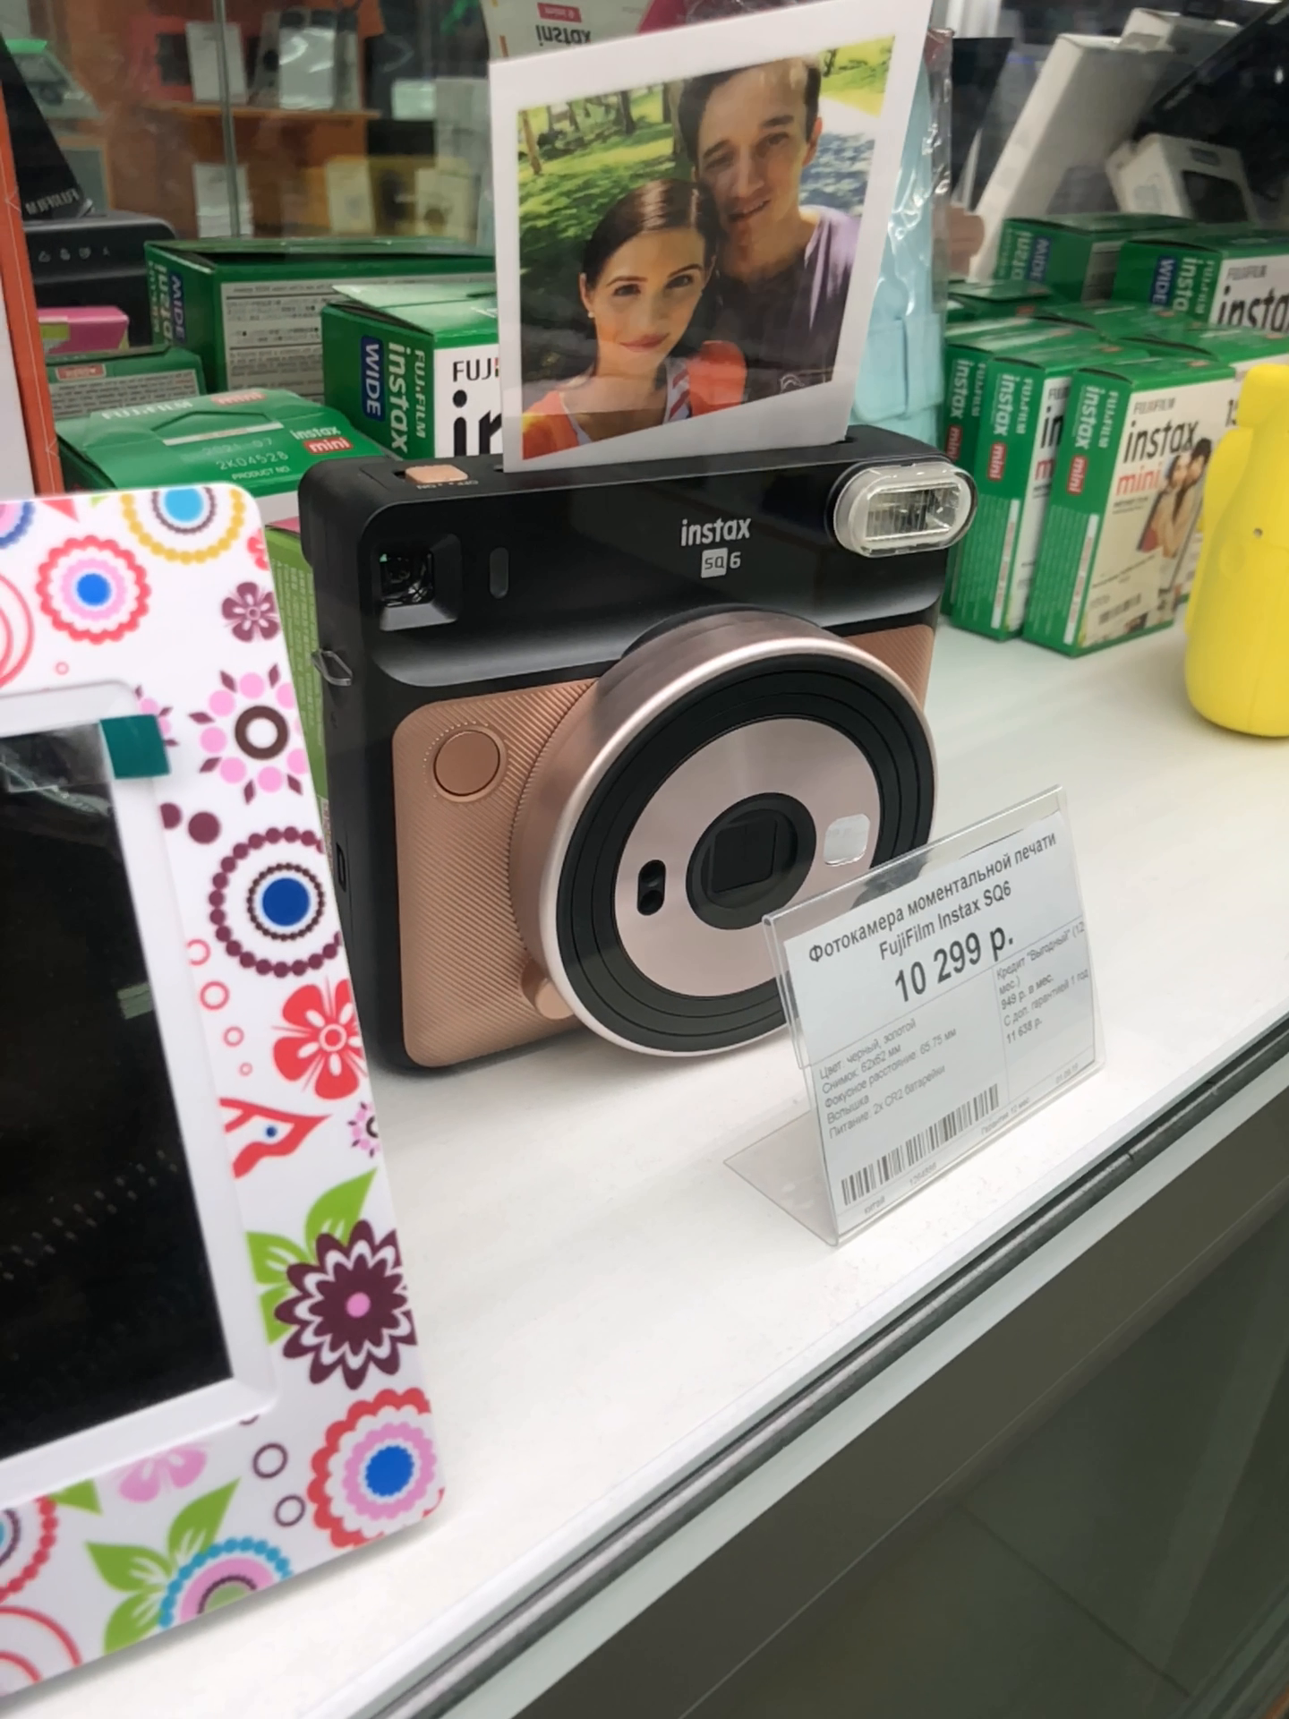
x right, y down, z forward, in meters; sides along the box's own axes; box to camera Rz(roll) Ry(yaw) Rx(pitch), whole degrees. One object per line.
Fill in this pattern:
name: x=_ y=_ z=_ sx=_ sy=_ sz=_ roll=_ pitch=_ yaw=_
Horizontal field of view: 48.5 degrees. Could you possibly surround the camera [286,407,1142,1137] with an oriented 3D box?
camera: x=0.011 y=-0.024 z=0.277 sx=0.140 sy=0.104 sz=0.060 roll=-12 pitch=33 yaw=-26
